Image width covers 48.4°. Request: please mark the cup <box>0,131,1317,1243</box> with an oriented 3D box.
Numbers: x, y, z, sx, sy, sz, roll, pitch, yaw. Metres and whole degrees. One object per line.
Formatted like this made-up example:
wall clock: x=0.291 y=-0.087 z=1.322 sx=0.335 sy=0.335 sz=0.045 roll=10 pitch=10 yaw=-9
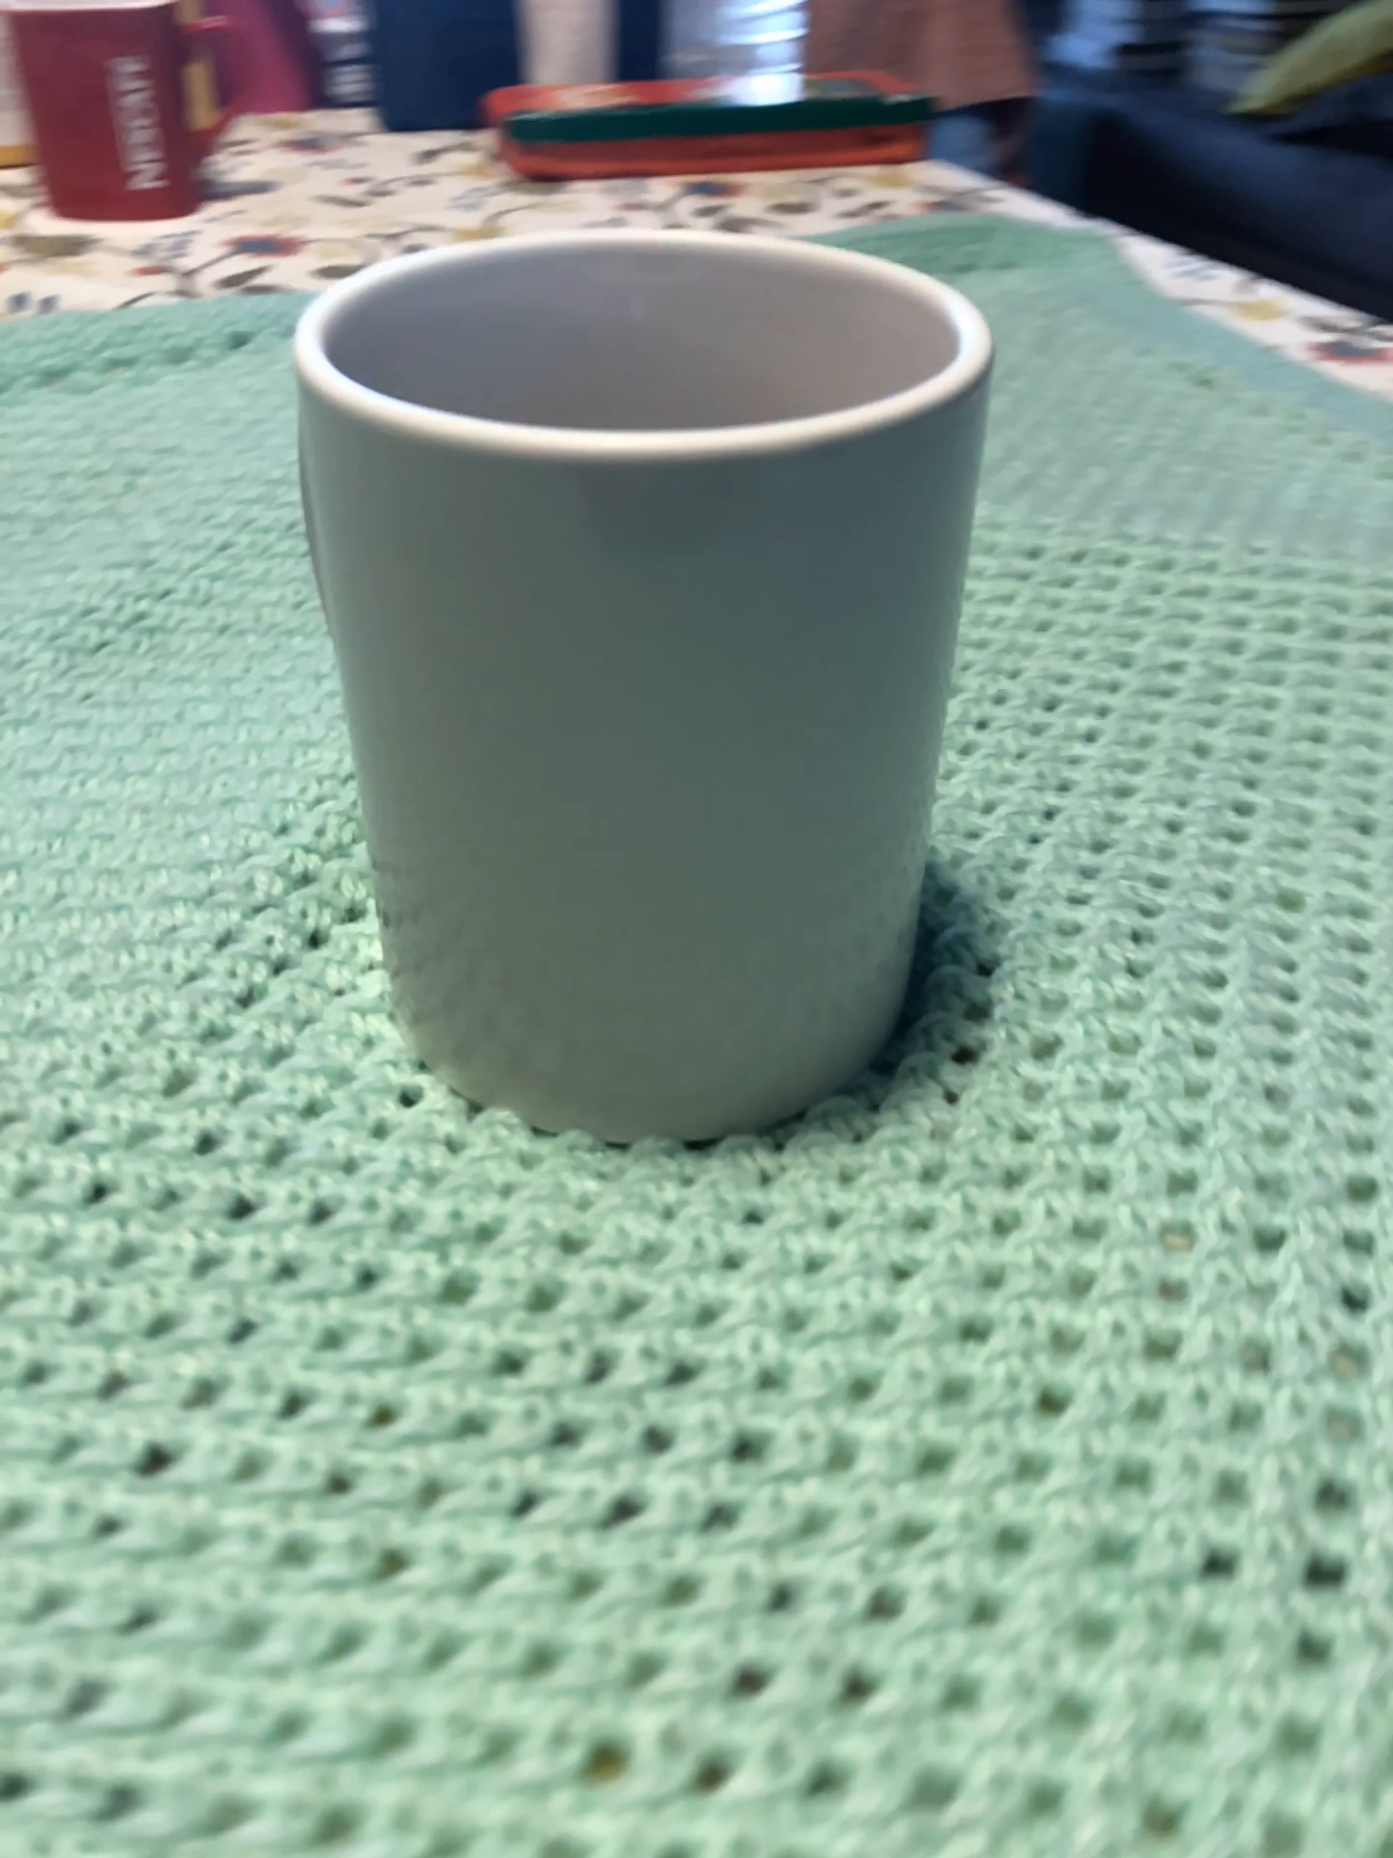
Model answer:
cup: x=-0.013 y=-0.049 z=0.218 sx=0.100 sy=0.079 sz=0.141 roll=-28 pitch=47 yaw=-32
